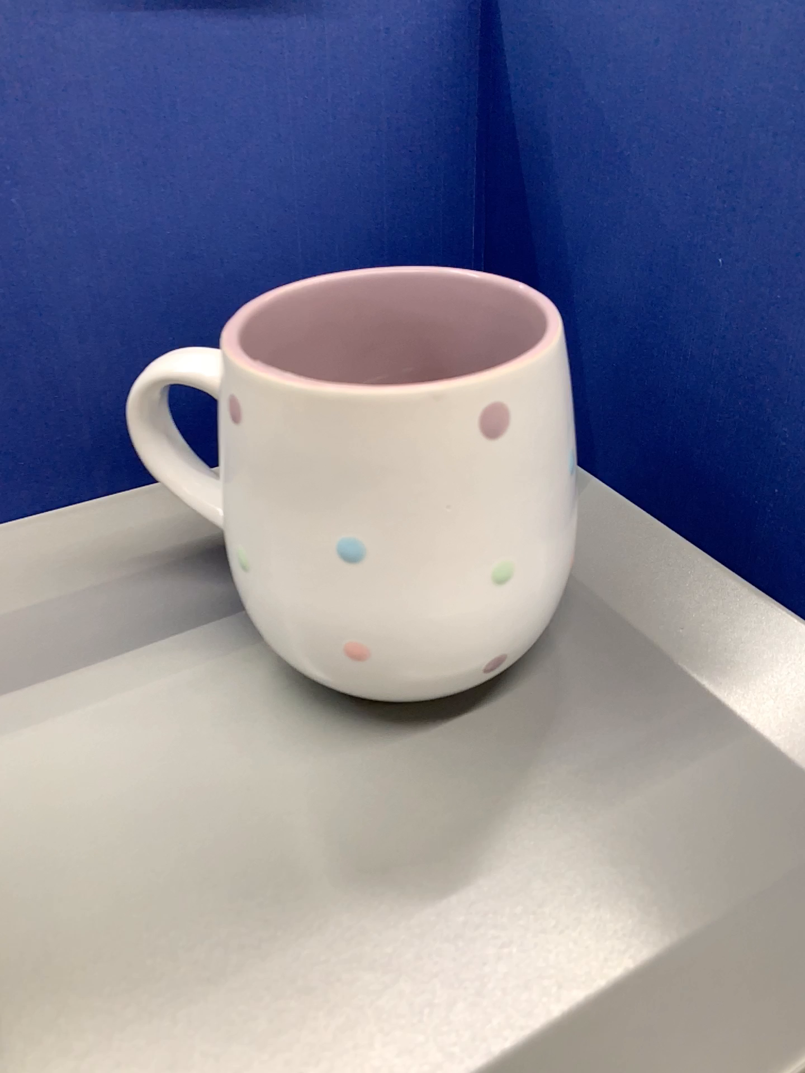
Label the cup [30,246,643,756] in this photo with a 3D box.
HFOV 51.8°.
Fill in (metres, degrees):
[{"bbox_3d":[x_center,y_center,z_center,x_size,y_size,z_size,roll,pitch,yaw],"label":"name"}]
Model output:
[{"bbox_3d":[-0.012,-0.022,0.241,0.130,0.088,0.097,14,35,22],"label":"cup"}]
